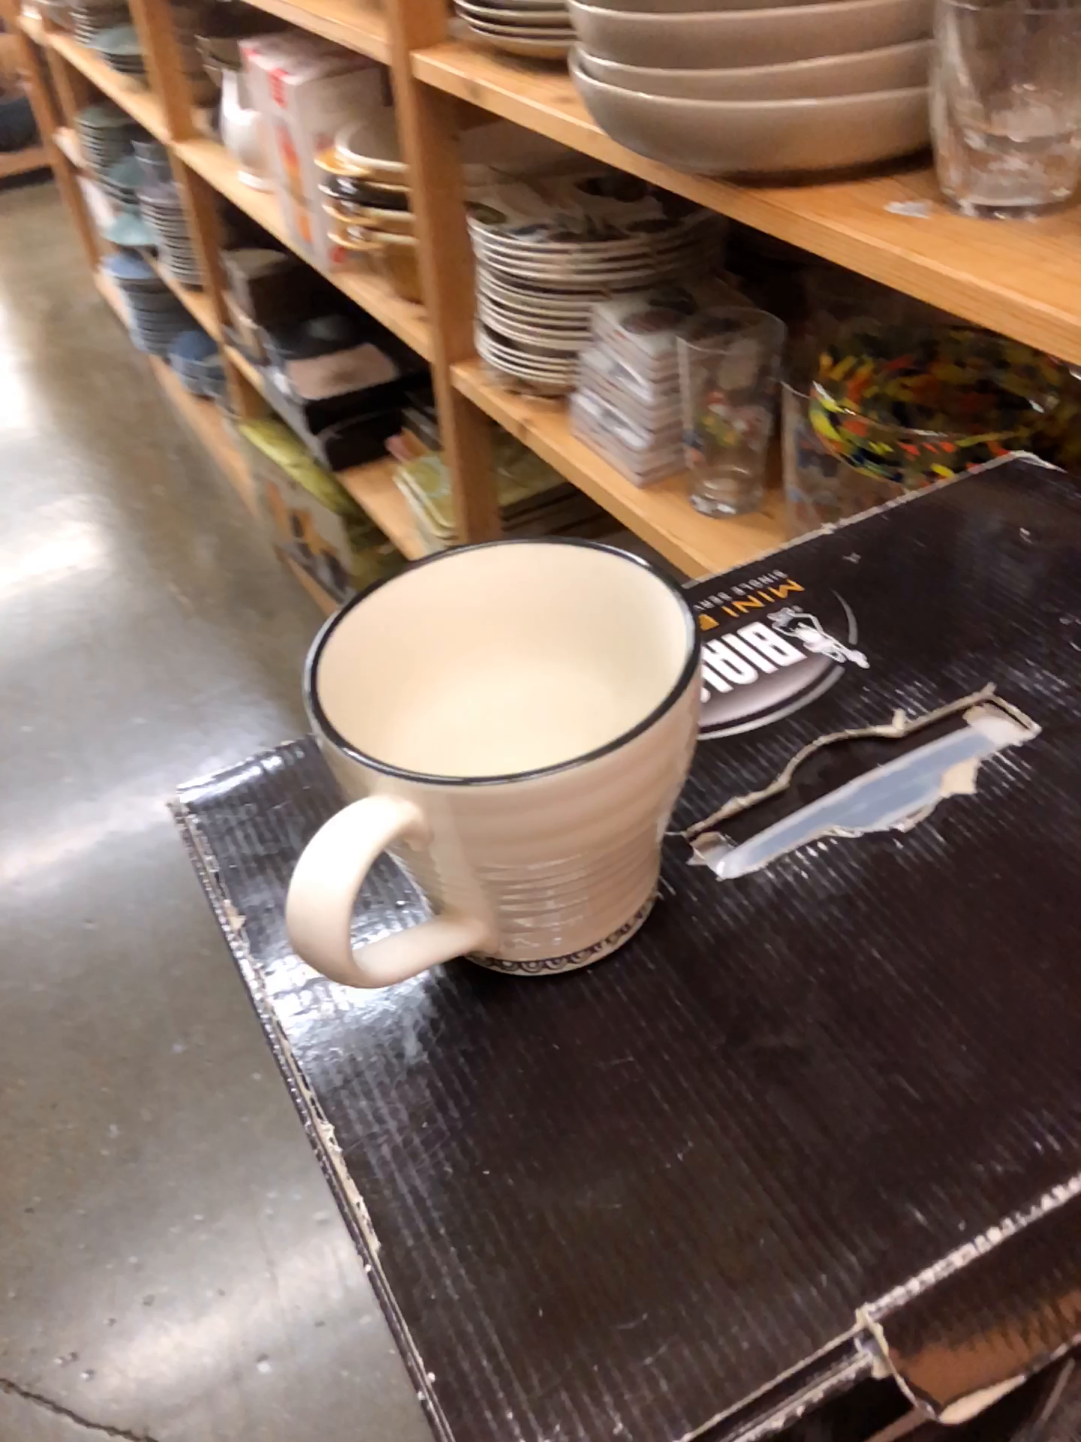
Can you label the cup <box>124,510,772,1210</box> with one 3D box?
[{"bbox_3d":[-0.009,0.024,0.293,0.102,0.084,0.131,10,44,18],"label":"cup"}]
